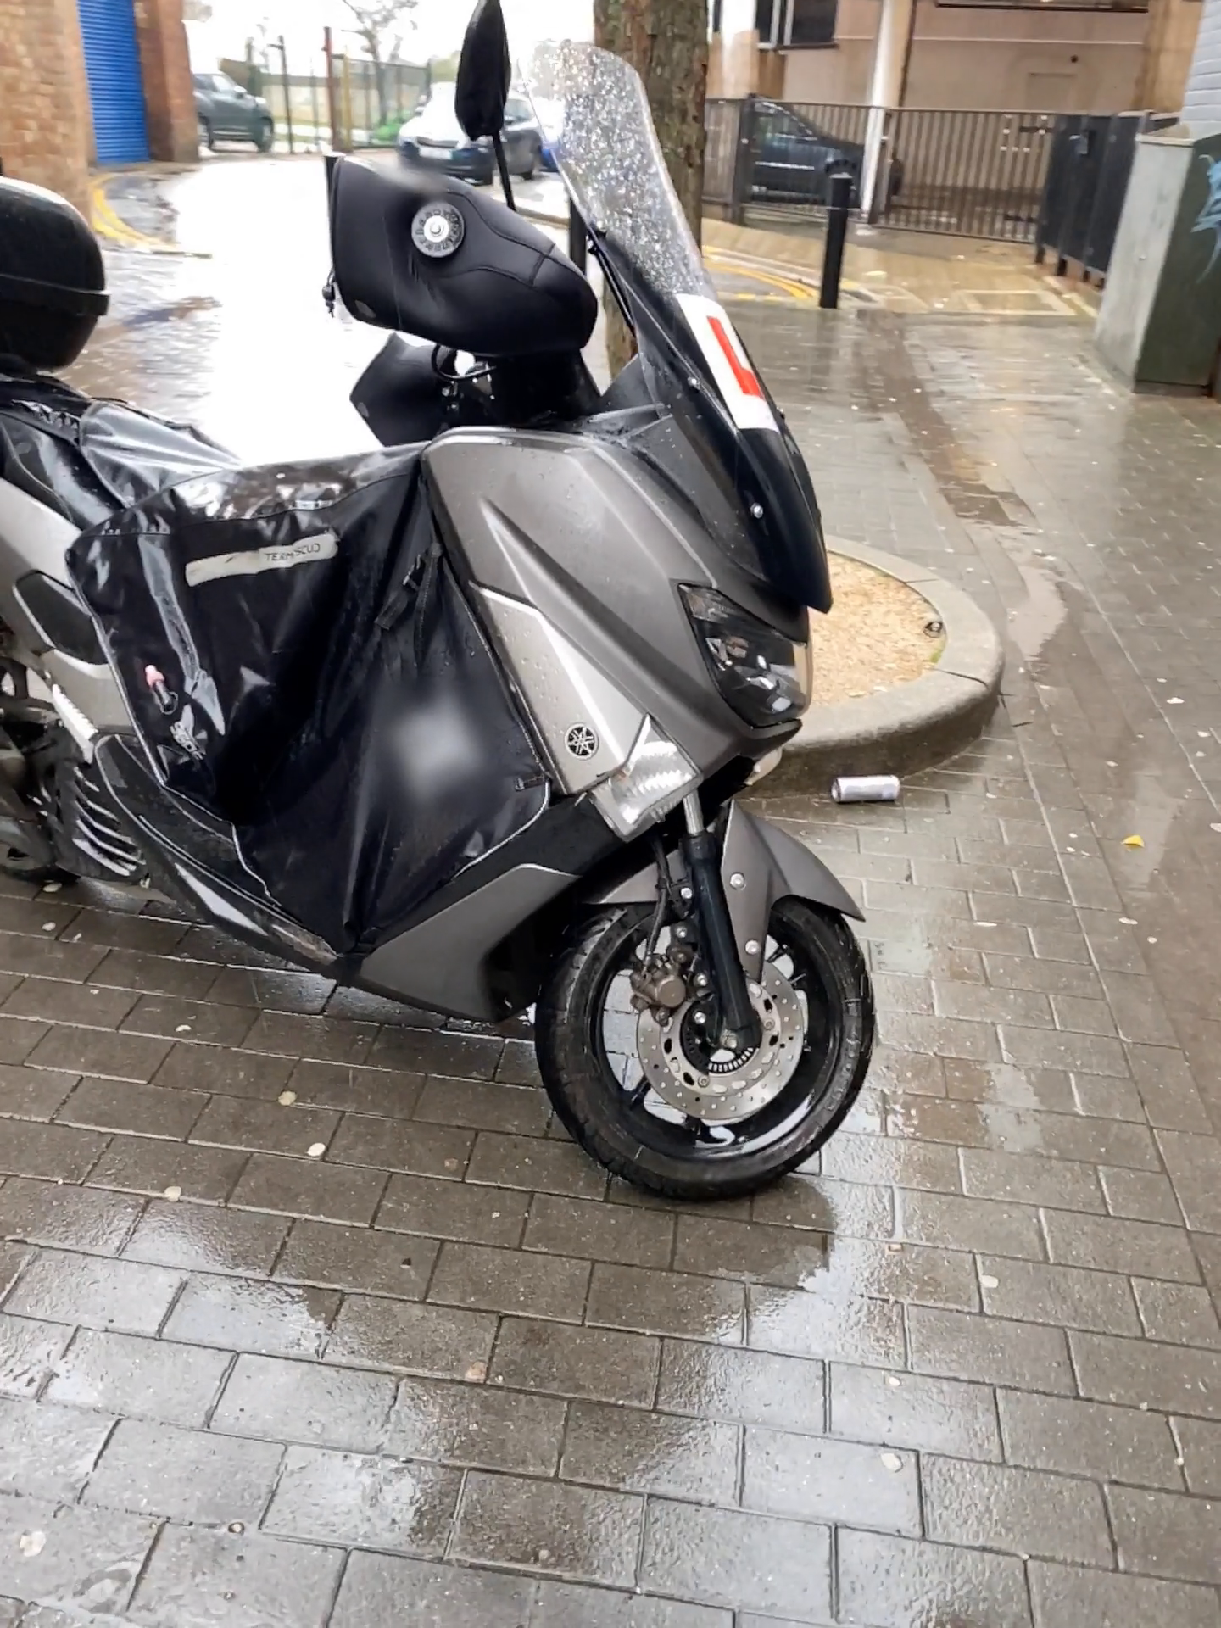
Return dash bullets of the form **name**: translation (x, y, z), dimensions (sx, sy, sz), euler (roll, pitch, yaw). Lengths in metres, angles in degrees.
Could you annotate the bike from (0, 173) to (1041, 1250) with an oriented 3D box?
- **bike**: translation (-0.372, -0.291, 1.940), dimensions (1.732, 1.121, 0.763), euler (14, 31, 18)
